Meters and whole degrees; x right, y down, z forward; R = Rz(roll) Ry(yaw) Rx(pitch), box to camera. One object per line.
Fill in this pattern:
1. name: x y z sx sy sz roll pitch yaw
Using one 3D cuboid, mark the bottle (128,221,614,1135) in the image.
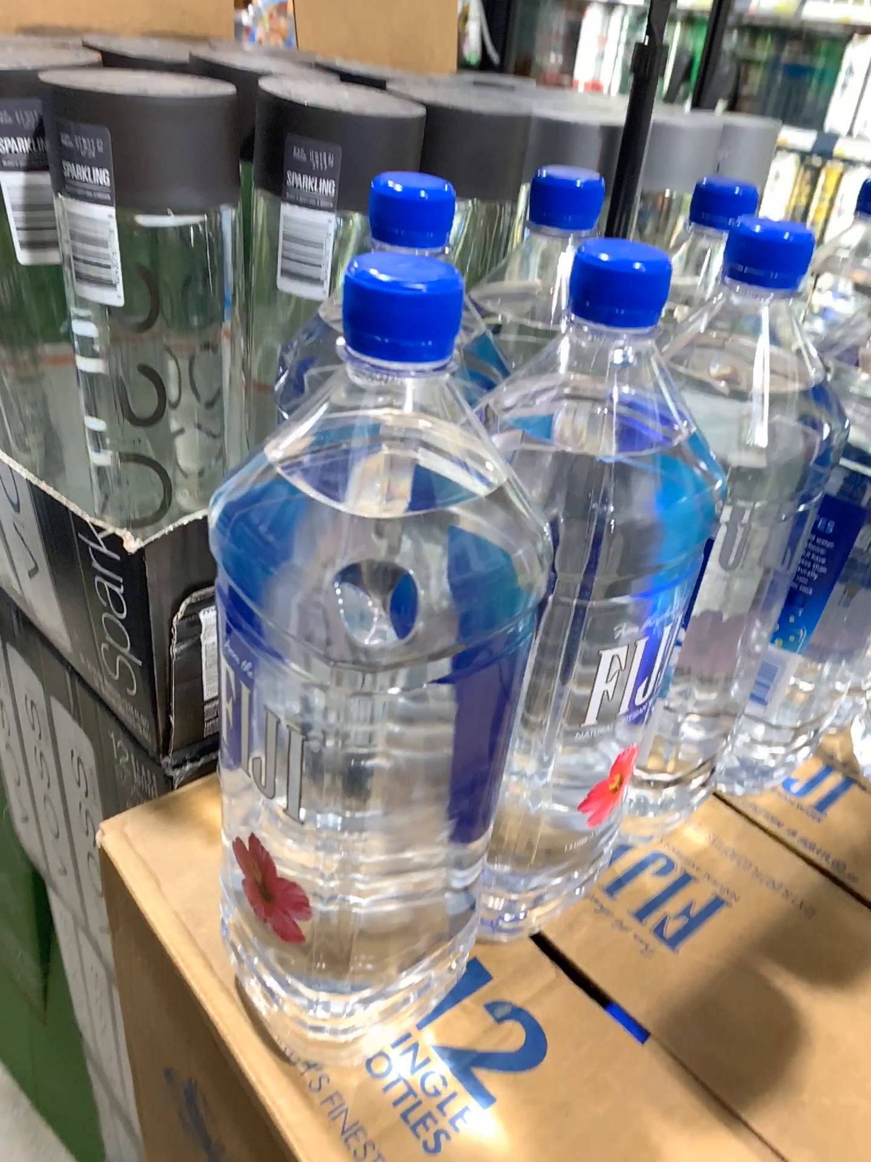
1. bottle: -0.030 0.043 0.287 0.080 0.278 0.090 -18 39 -33
